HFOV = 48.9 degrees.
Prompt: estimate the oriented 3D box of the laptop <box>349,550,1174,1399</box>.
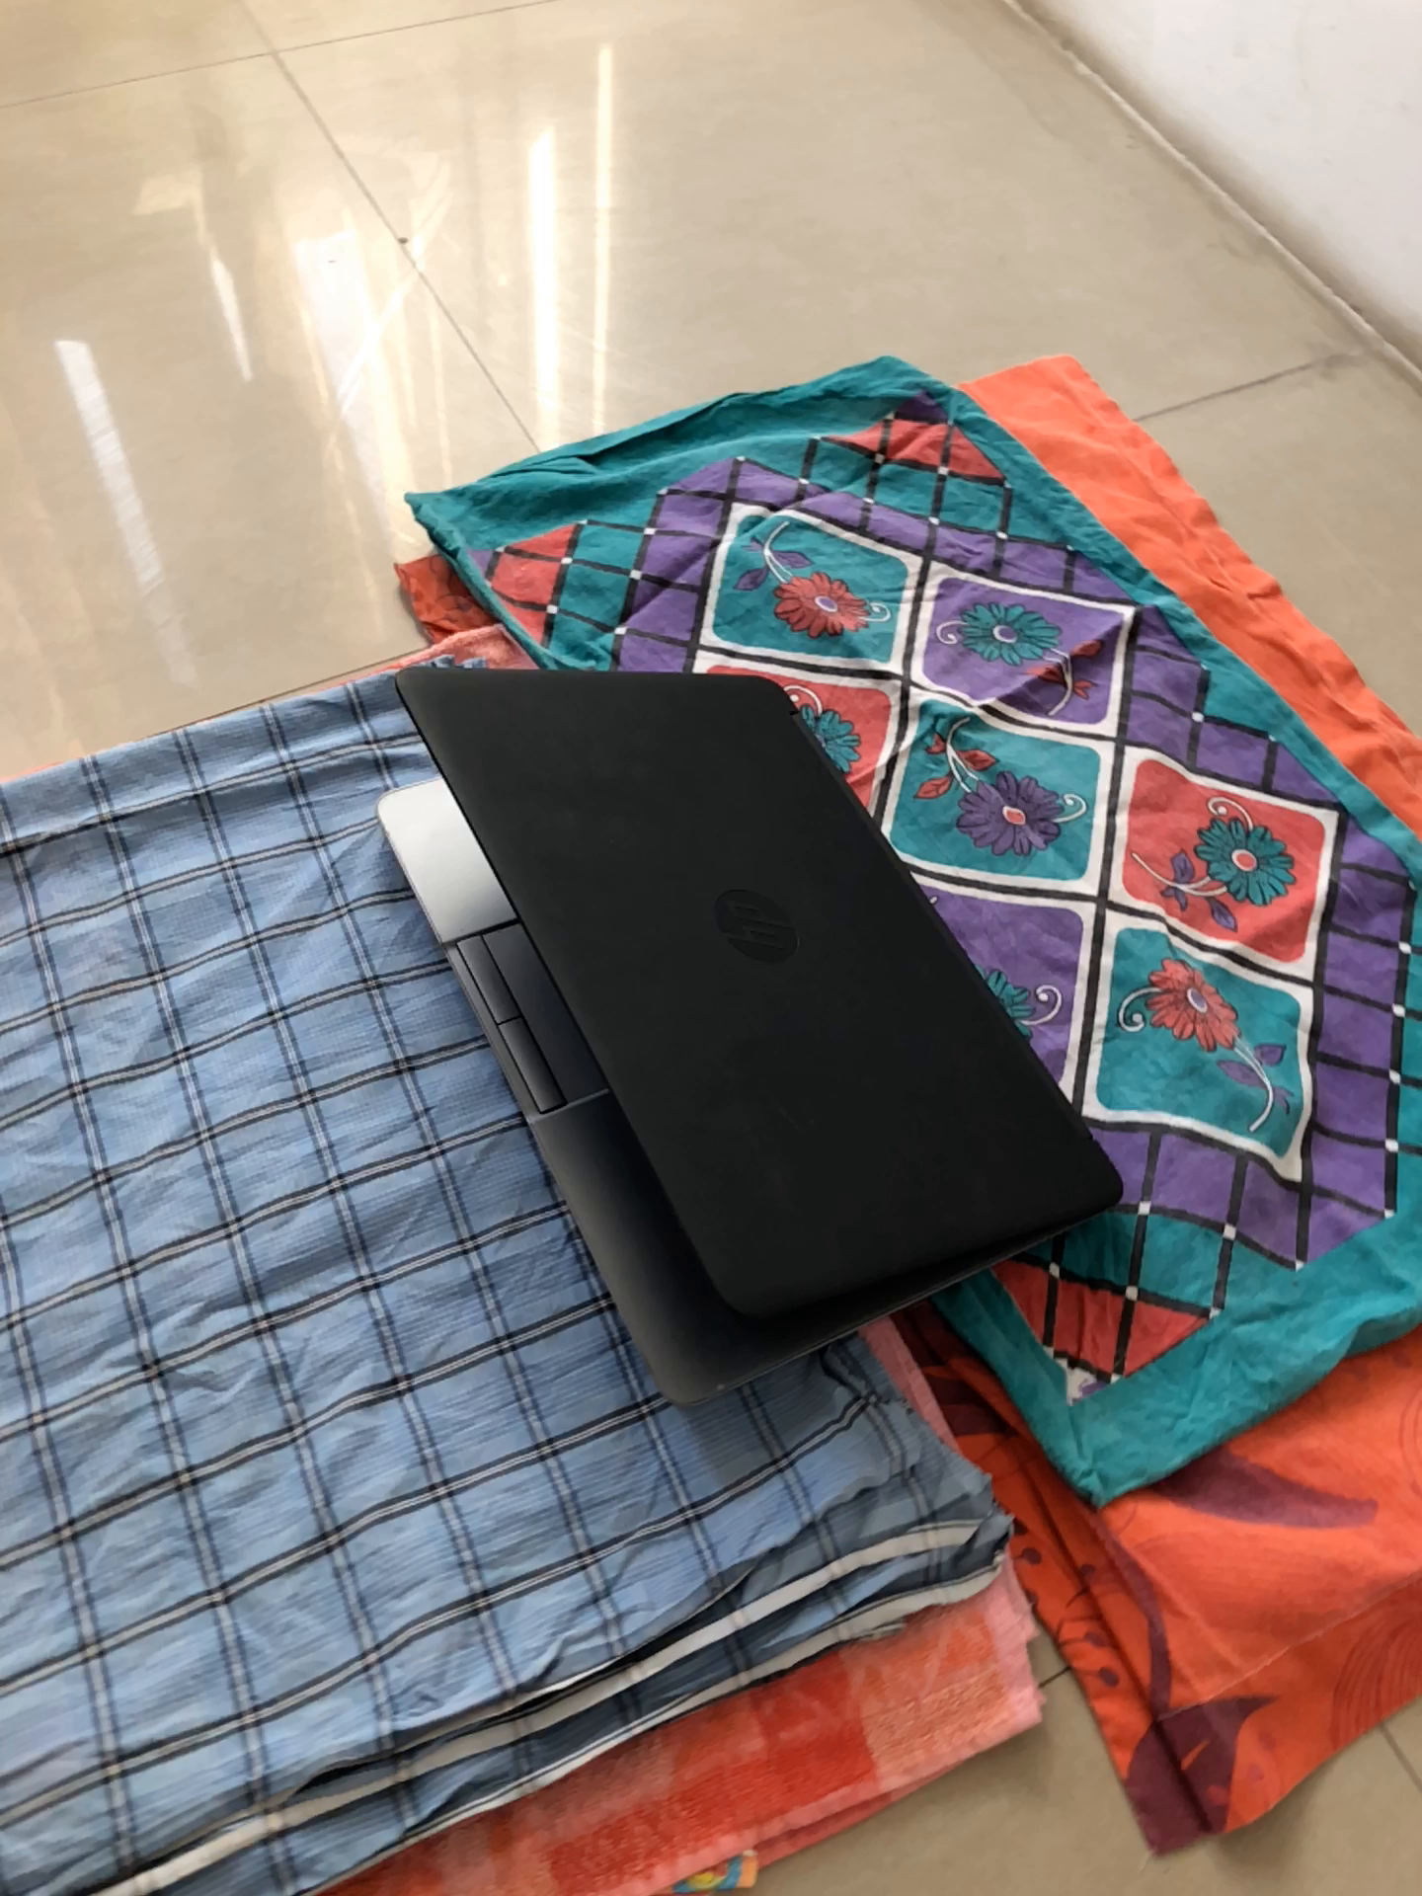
[{"bbox_3d":[0.011,-0.007,0.682,0.213,0.099,0.322,-20,63,-23],"label":"laptop"}]
